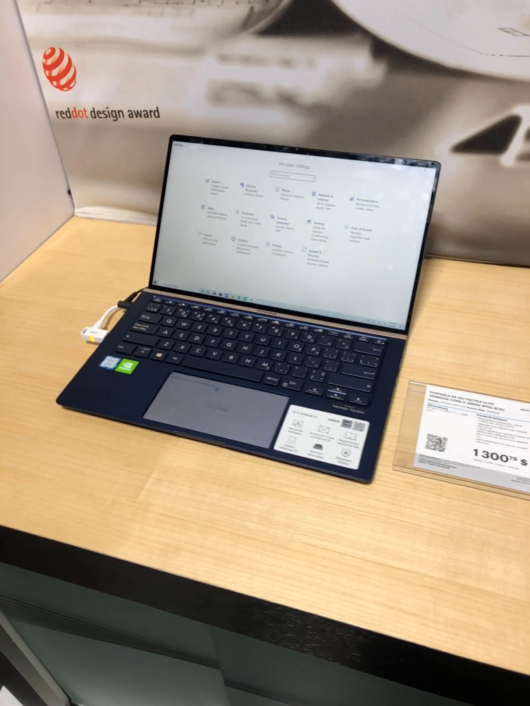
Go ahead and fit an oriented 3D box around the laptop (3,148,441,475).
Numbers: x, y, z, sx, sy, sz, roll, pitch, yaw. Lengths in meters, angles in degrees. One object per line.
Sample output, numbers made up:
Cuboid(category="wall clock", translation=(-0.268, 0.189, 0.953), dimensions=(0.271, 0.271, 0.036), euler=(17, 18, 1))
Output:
Cuboid(category="laptop", translation=(-0.013, -0.075, 0.637), dimensions=(0.332, 0.159, 0.322), euler=(11, 42, 16))
